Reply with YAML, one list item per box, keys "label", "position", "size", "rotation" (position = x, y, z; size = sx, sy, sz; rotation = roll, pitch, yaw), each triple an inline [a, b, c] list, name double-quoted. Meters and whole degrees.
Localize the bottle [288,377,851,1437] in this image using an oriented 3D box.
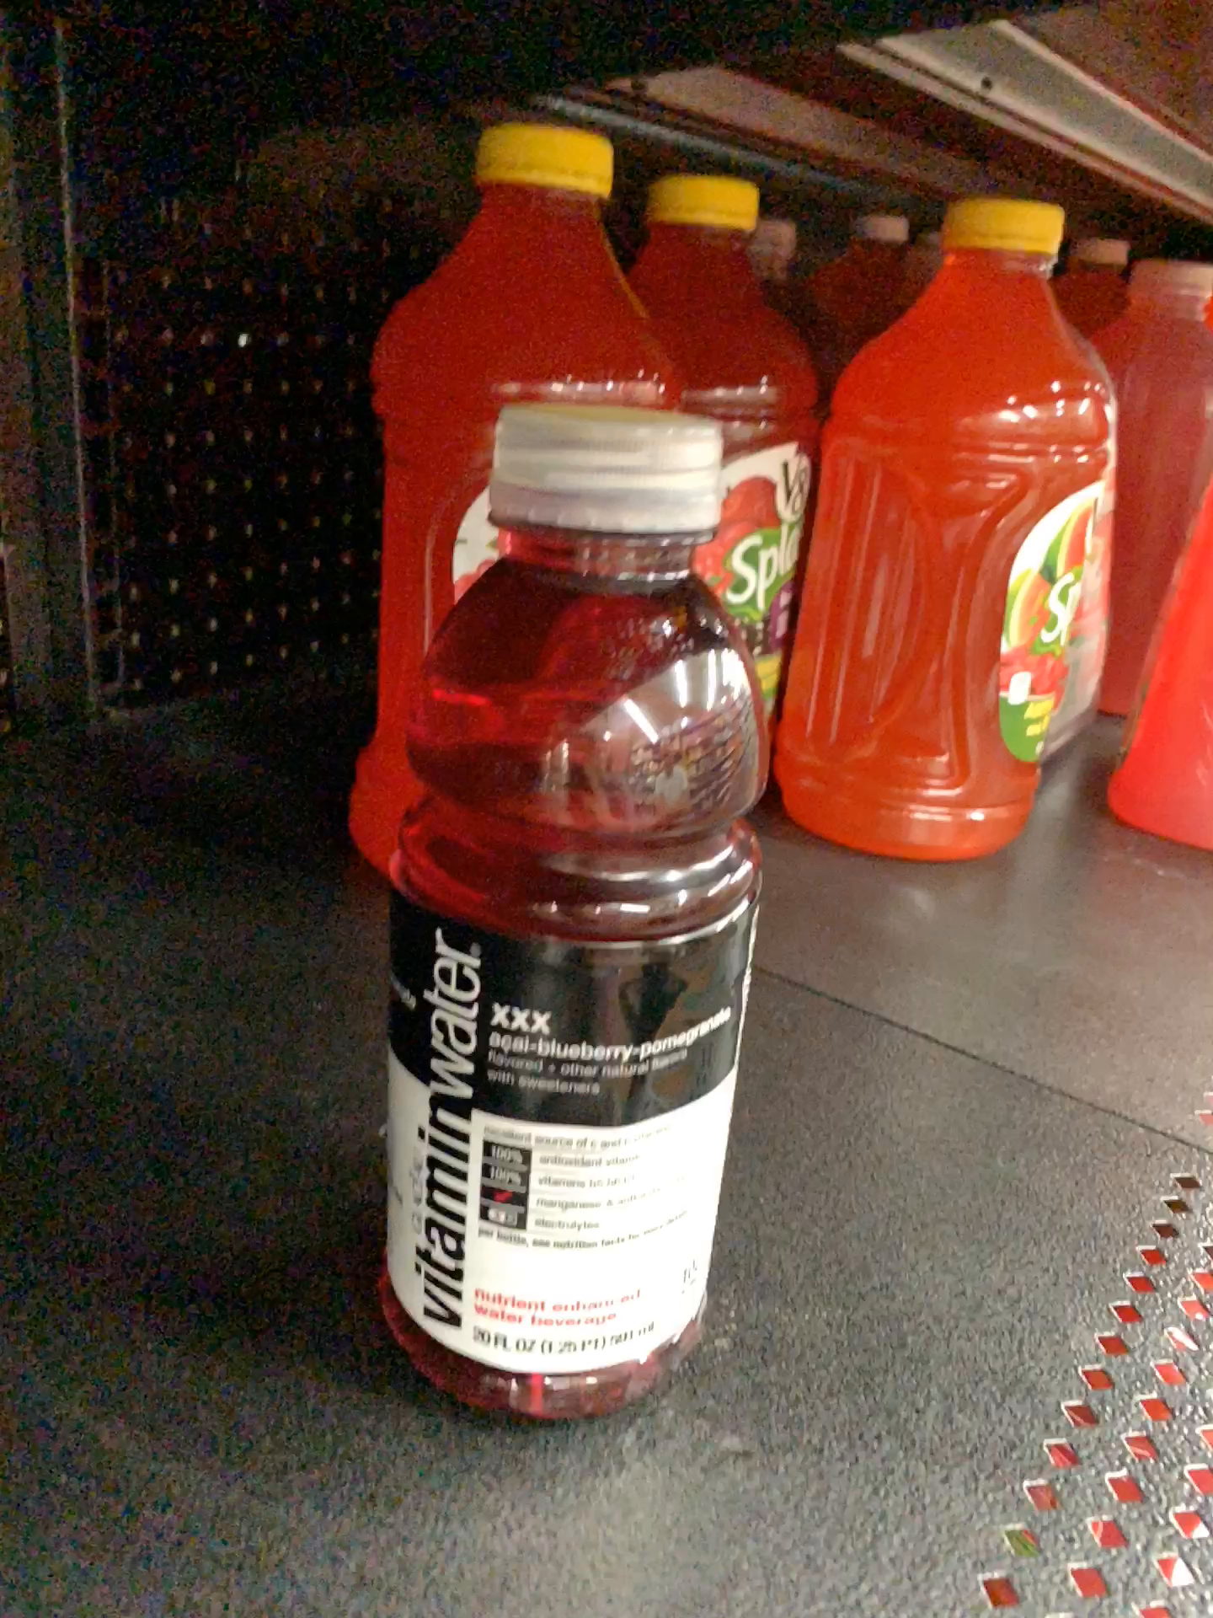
- label: "bottle"
  position: [-0.008, 0.016, 0.246]
  size: [0.080, 0.179, 0.080]
  rotation: [5, 22, -2]
